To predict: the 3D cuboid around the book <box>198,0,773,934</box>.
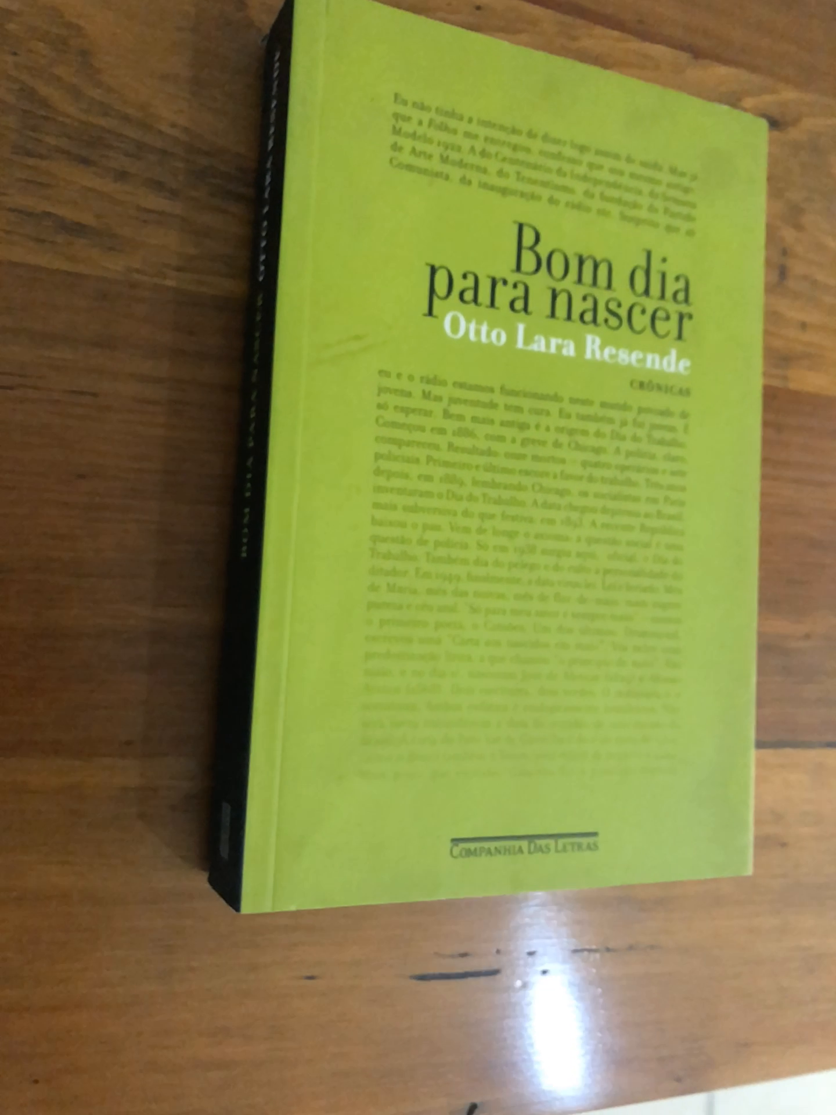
[{"bbox_3d":[0.023,-0.024,0.233,0.136,0.030,0.208,4,85,-22],"label":"book"}]
